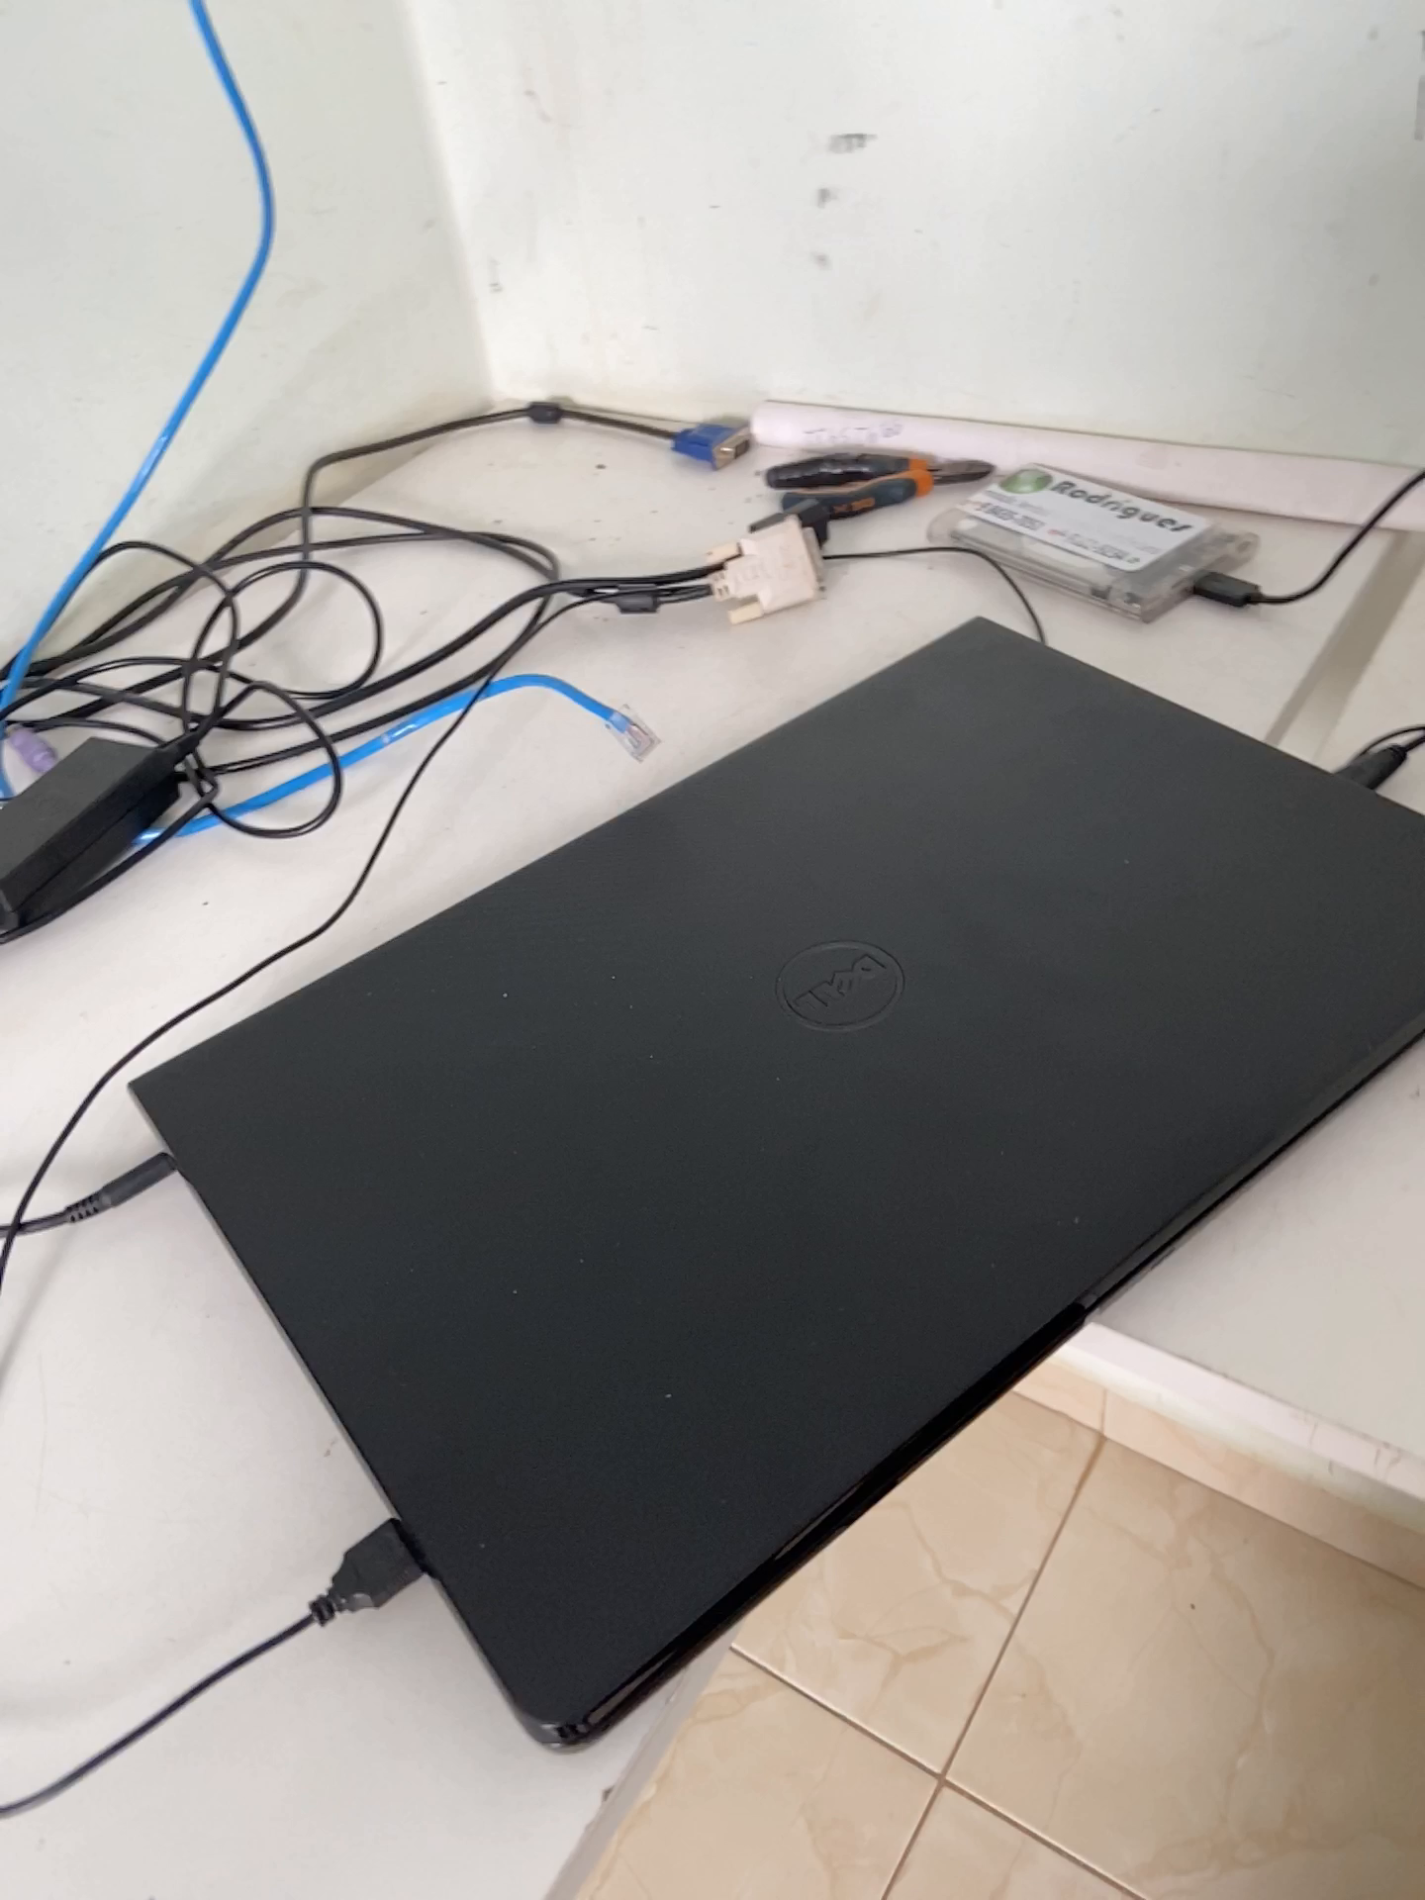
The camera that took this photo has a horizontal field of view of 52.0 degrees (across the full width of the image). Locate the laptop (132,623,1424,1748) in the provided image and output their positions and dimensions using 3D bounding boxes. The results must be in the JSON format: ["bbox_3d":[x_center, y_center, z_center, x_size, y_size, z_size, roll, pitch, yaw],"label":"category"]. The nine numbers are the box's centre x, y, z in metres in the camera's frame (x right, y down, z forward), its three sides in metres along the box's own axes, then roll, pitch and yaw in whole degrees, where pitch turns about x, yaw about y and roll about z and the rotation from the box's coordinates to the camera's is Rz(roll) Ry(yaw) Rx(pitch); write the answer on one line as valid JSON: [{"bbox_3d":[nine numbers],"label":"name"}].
[{"bbox_3d":[0.036,0.012,0.460,0.376,0.003,0.260,-31,44,-23],"label":"laptop"}]
